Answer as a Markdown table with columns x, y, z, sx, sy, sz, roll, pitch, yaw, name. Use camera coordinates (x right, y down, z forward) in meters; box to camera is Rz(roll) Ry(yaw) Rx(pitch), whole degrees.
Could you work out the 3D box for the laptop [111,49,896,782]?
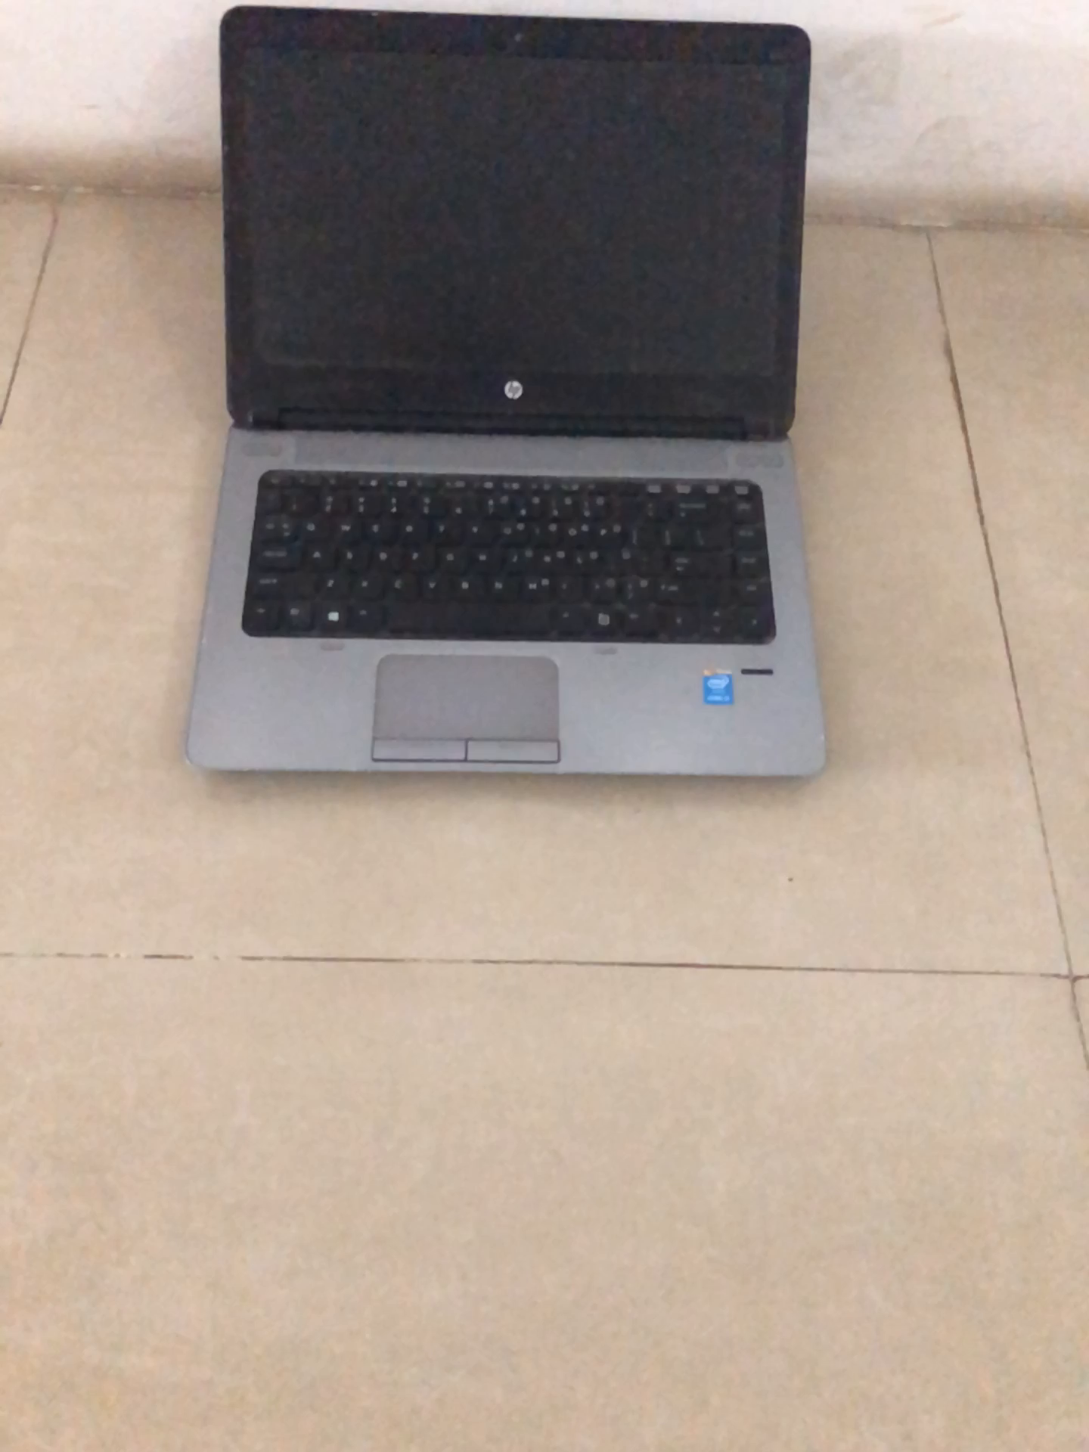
| x | y | z | sx | sy | sz | roll | pitch | yaw | name |
| --- | --- | --- | --- | --- | --- | --- | --- | --- | --- |
| -0.018 | -0.175 | 0.648 | 0.318 | 0.146 | 0.386 | 1 | 60 | -2 | laptop |
